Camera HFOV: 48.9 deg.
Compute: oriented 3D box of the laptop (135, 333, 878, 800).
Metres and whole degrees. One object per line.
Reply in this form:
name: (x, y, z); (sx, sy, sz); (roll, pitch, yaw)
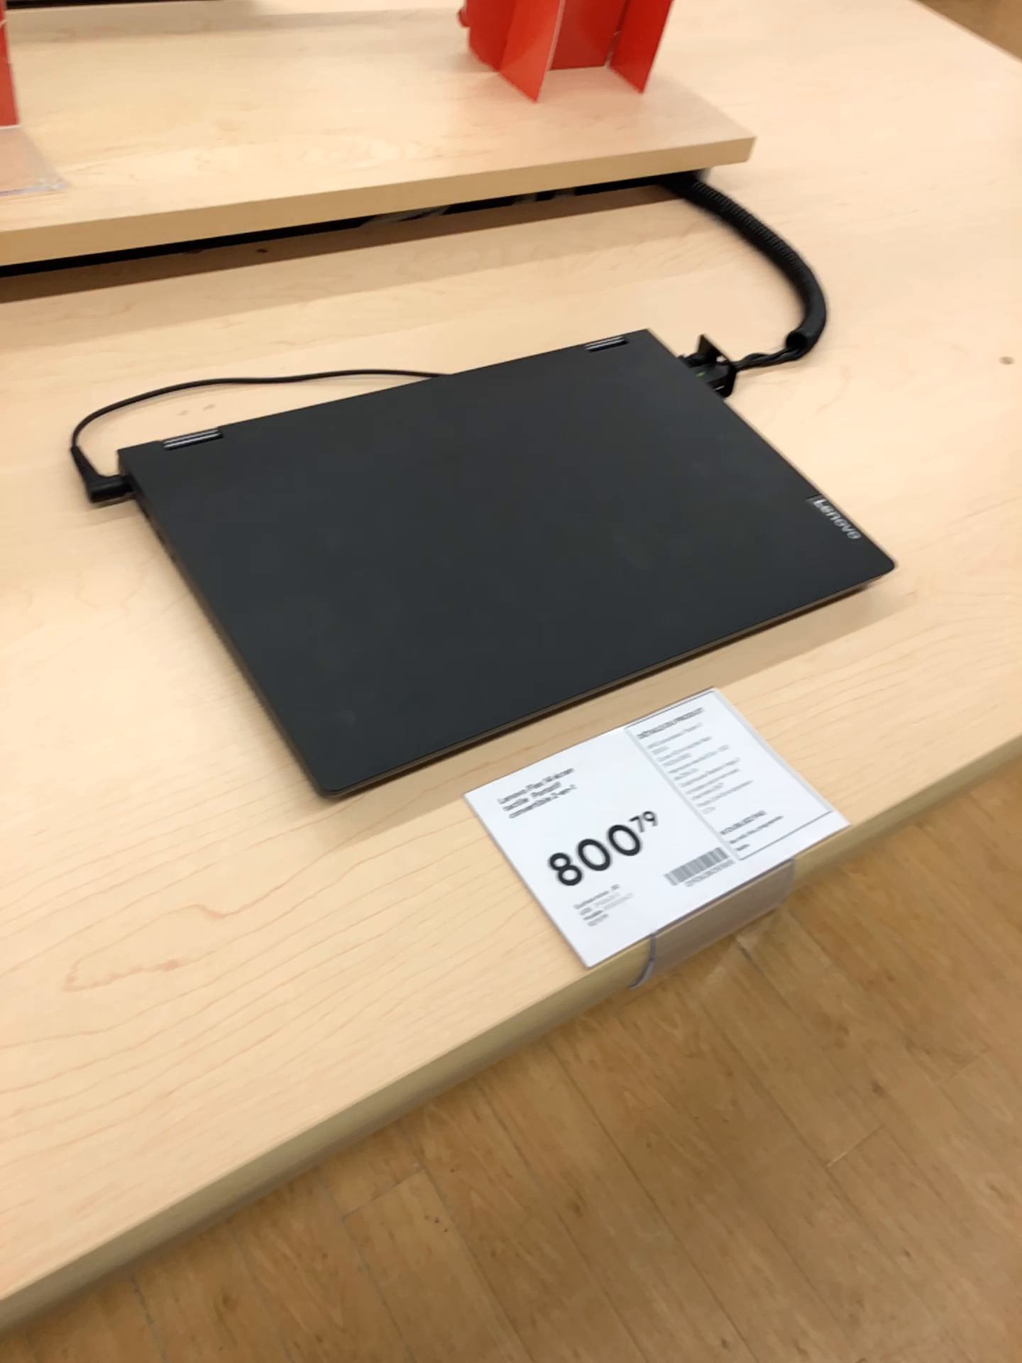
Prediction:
laptop: (0.007, -0.085, 0.571); (0.326, 0.009, 0.212); (-21, 59, -29)
